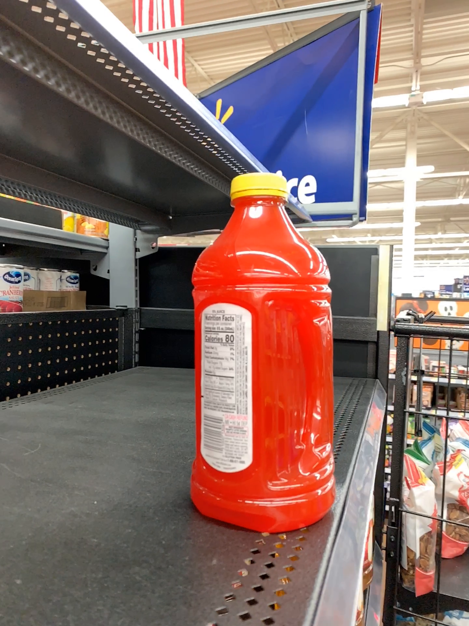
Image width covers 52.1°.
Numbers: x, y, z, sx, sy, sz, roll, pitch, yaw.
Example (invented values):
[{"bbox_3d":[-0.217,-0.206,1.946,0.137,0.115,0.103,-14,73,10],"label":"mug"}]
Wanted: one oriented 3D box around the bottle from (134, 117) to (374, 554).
[{"bbox_3d":[0.018,0.011,0.380,0.140,0.265,0.122,2,2,34],"label":"bottle"}]
